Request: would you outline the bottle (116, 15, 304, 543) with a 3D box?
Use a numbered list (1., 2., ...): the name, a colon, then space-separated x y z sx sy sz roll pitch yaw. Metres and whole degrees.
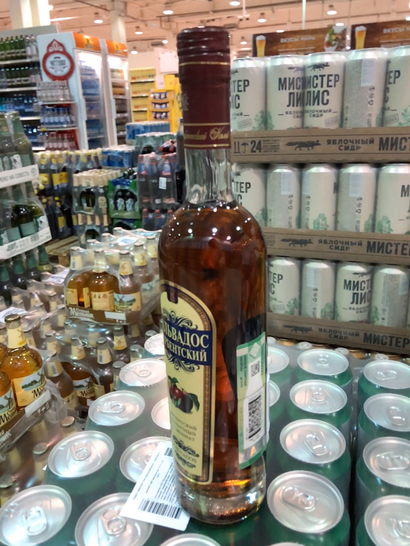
1. bottle: 0.008 0.015 0.286 0.070 0.298 0.070 -2 19 1
